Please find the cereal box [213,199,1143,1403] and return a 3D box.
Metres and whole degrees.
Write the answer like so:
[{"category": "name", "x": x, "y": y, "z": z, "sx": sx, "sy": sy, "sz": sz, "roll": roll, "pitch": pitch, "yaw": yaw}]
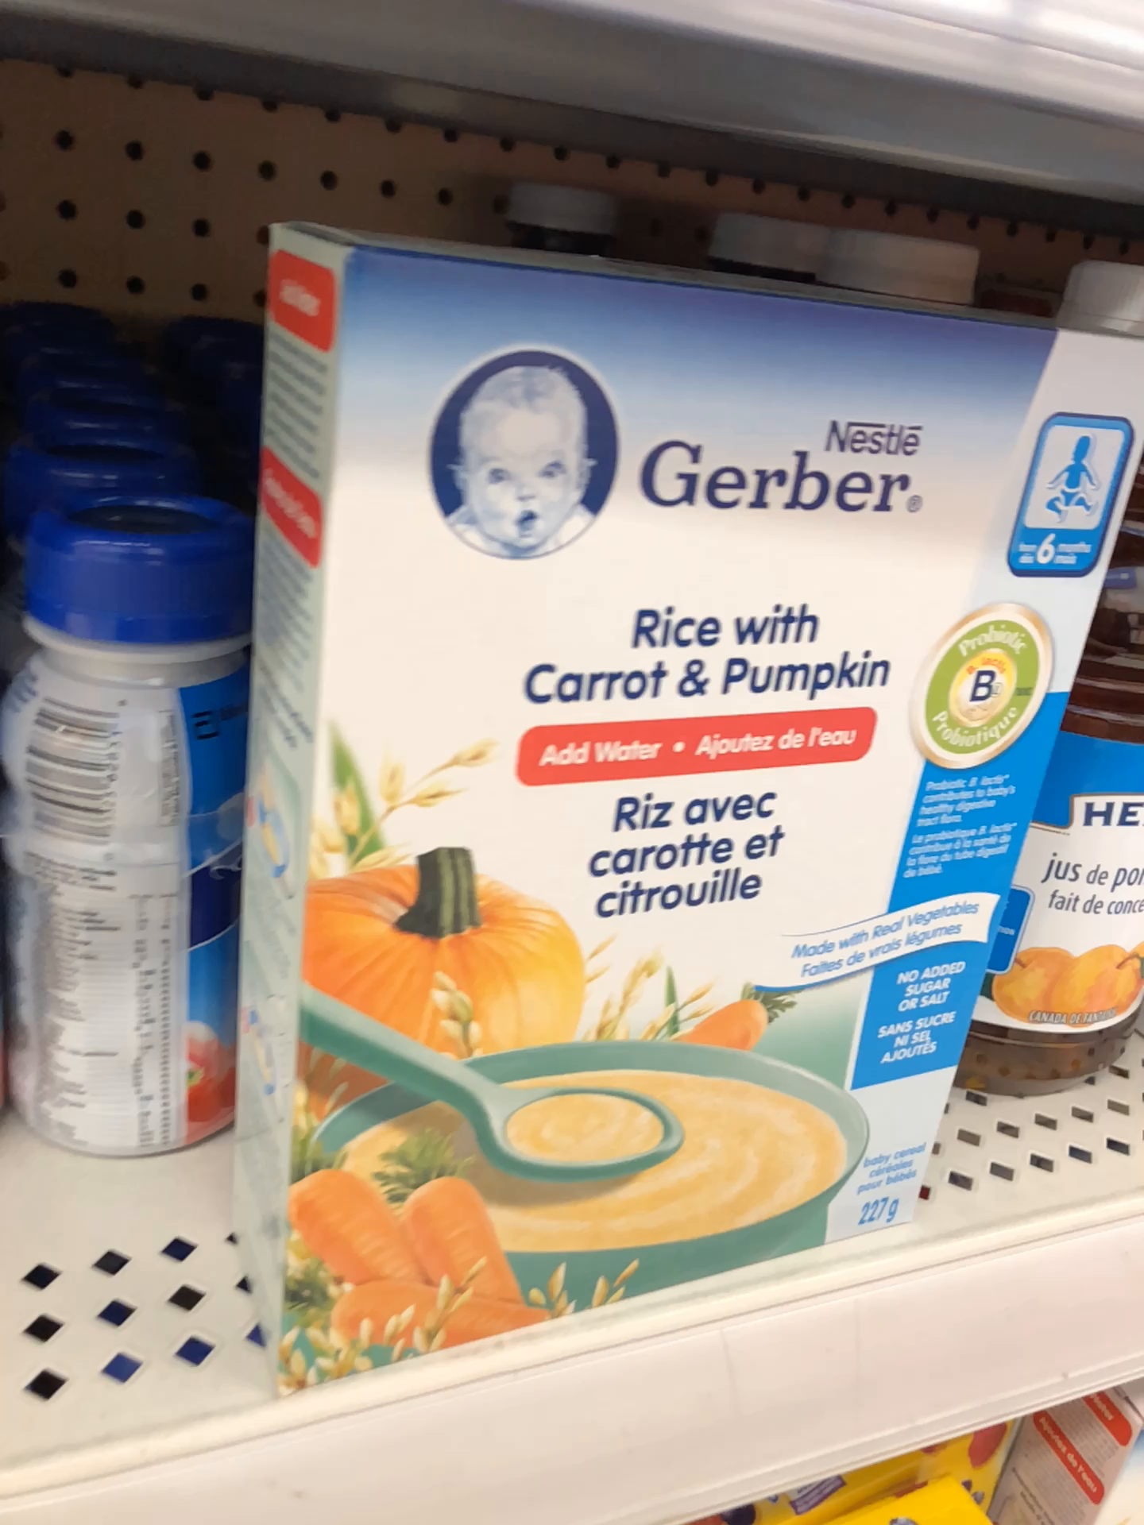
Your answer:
[{"category": "cereal box", "x": 0.021, "y": 0.009, "z": 0.228, "sx": 0.150, "sy": 0.179, "sz": 0.050, "roll": -3, "pitch": 26, "yaw": -27}]
